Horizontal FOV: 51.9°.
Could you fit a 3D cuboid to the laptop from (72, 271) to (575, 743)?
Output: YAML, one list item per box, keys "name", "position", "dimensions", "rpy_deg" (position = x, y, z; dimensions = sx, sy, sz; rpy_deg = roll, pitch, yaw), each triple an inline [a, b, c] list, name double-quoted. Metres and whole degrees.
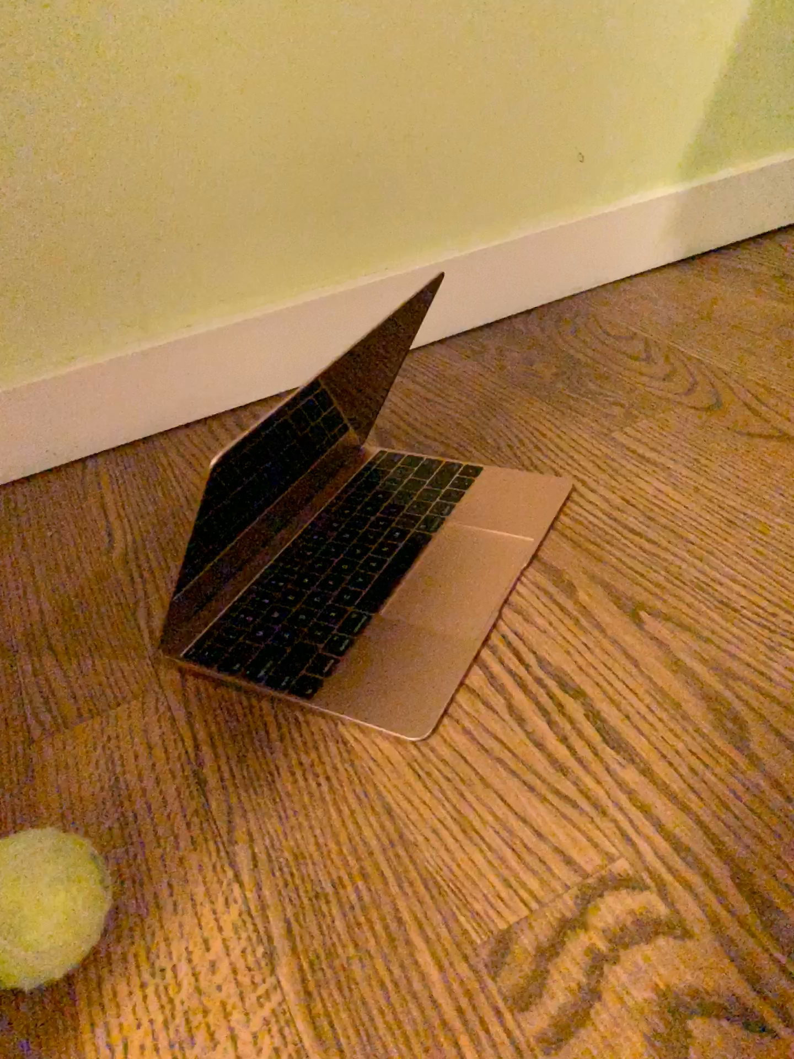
- name: "laptop"
  position: [-0.019, -0.044, 0.566]
  dimensions: [0.206, 0.168, 0.289]
  rpy_deg: [11, 39, 26]
